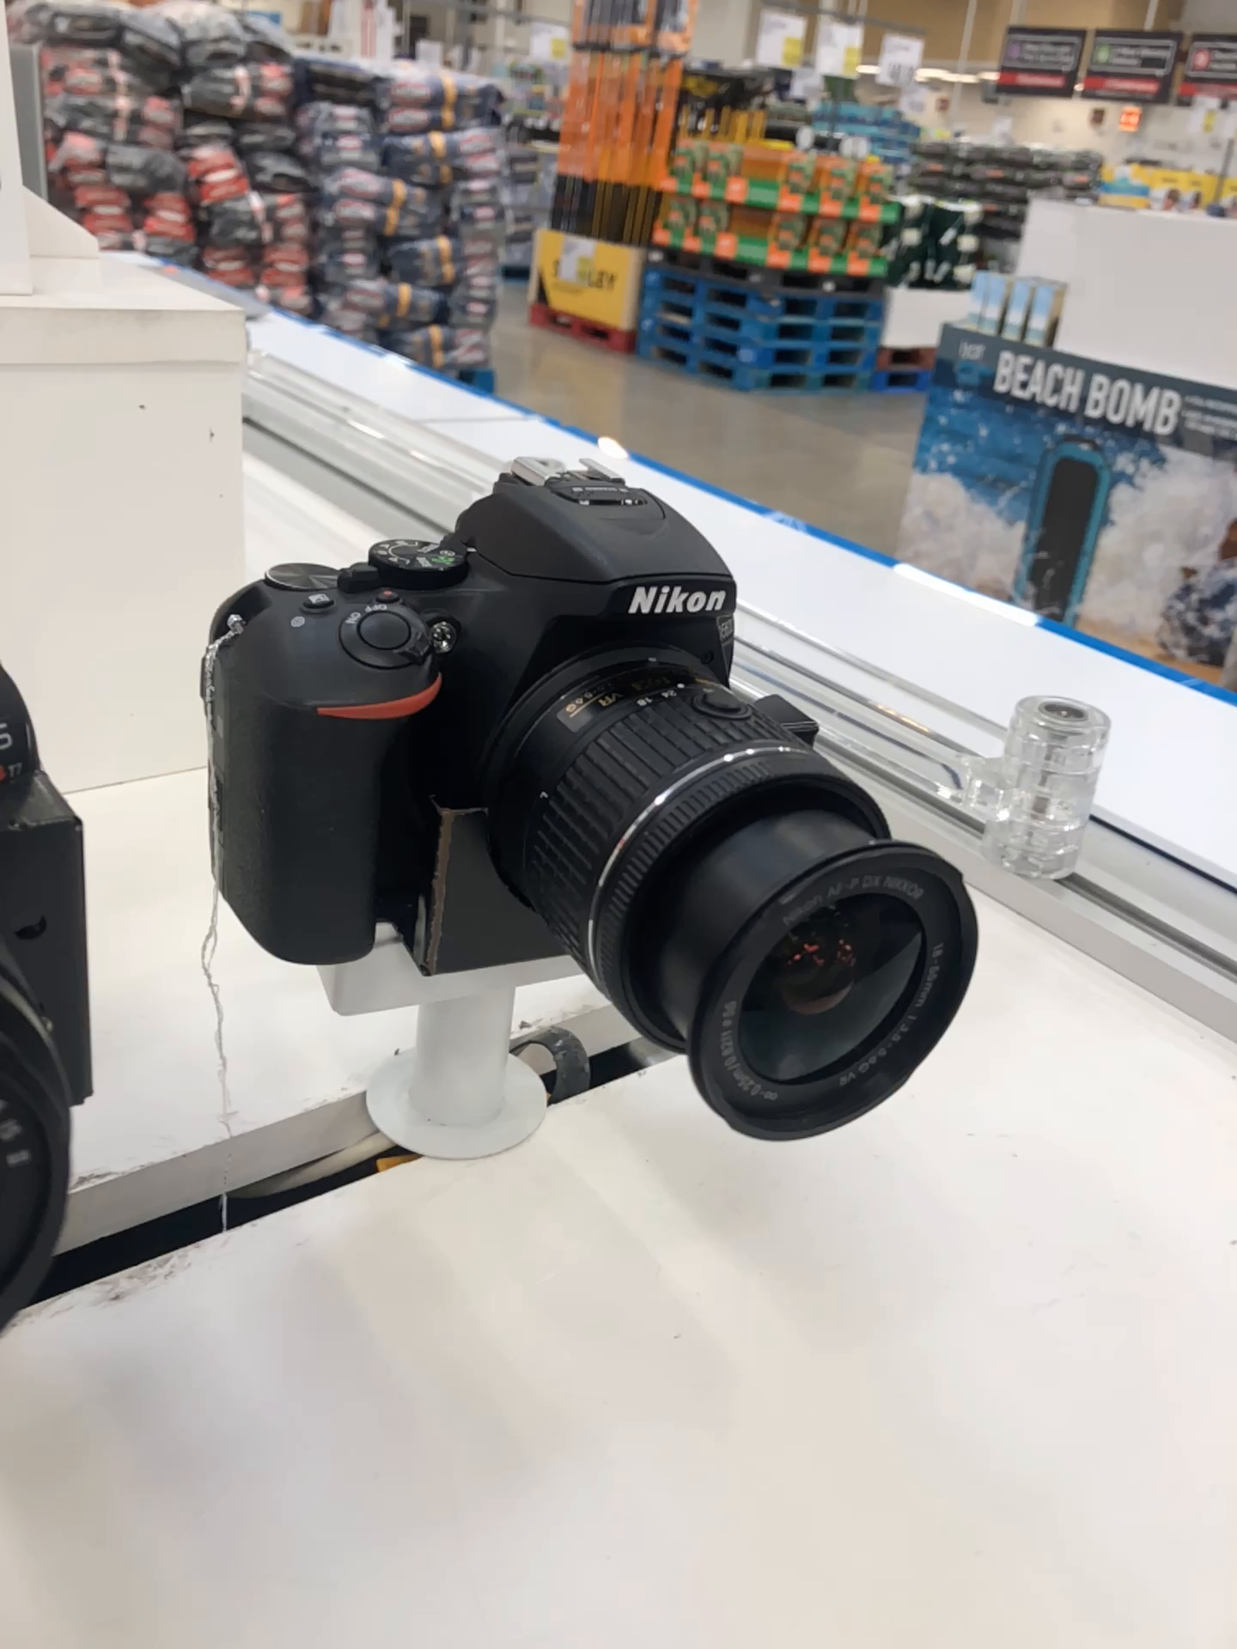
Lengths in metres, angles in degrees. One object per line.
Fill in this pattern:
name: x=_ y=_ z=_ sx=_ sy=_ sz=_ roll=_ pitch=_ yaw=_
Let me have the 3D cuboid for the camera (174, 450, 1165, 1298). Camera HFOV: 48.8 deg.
camera: x=-0.004 y=-0.011 z=0.272 sx=0.120 sy=0.089 sz=0.151 roll=-11 pitch=32 yaw=-33
